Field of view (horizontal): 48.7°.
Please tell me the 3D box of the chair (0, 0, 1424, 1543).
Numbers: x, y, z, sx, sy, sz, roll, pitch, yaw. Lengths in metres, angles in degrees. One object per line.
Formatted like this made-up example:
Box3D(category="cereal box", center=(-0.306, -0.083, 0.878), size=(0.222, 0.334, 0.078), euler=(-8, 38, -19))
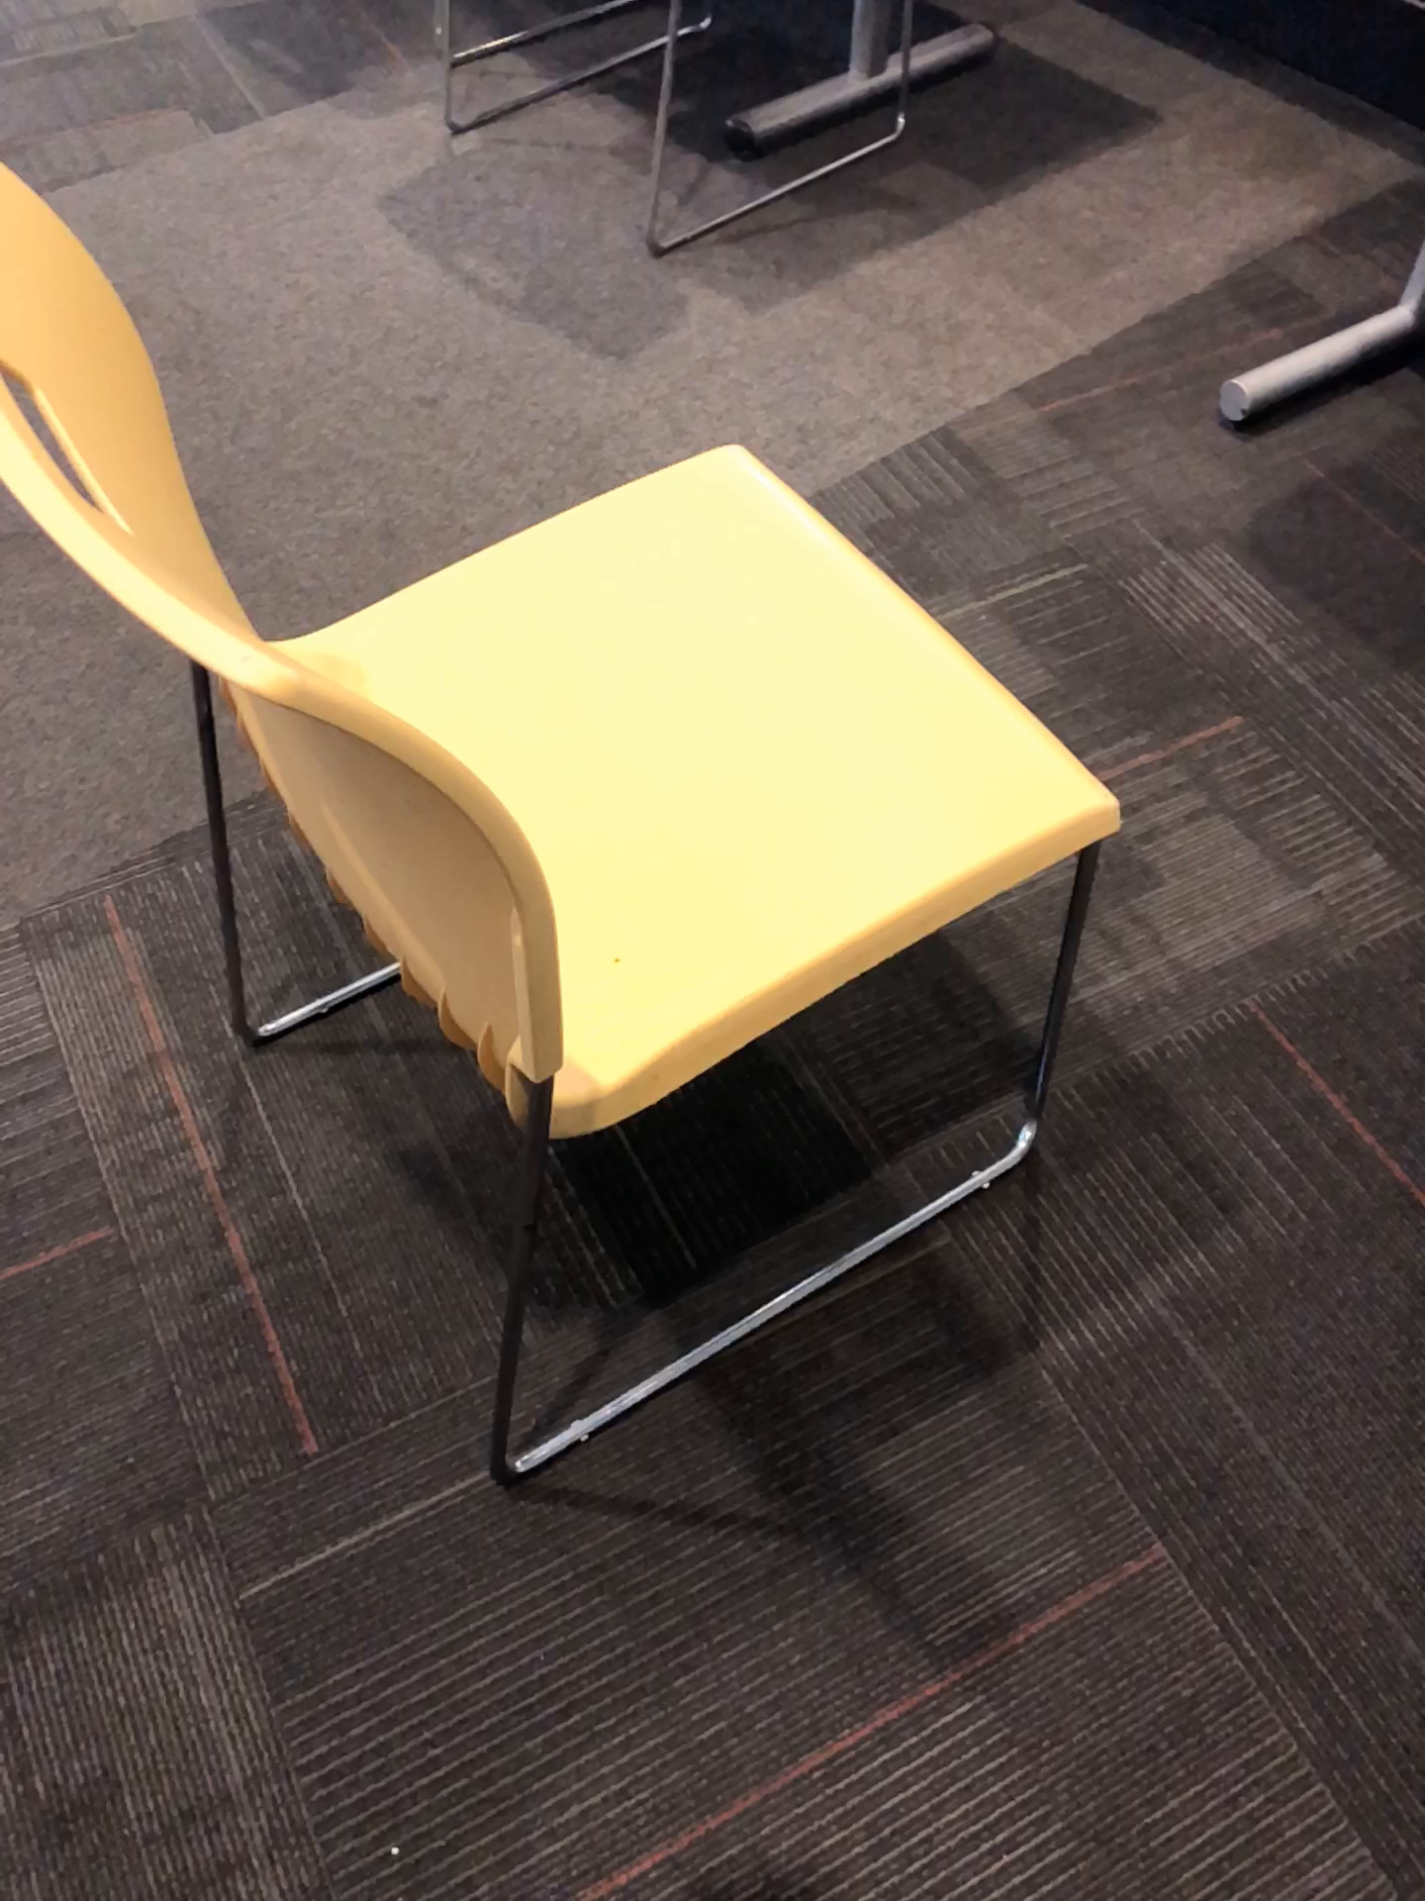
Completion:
Box3D(category="chair", center=(-0.072, -0.138, 0.995), size=(0.560, 0.738, 0.572), euler=(-26, 57, -19))
